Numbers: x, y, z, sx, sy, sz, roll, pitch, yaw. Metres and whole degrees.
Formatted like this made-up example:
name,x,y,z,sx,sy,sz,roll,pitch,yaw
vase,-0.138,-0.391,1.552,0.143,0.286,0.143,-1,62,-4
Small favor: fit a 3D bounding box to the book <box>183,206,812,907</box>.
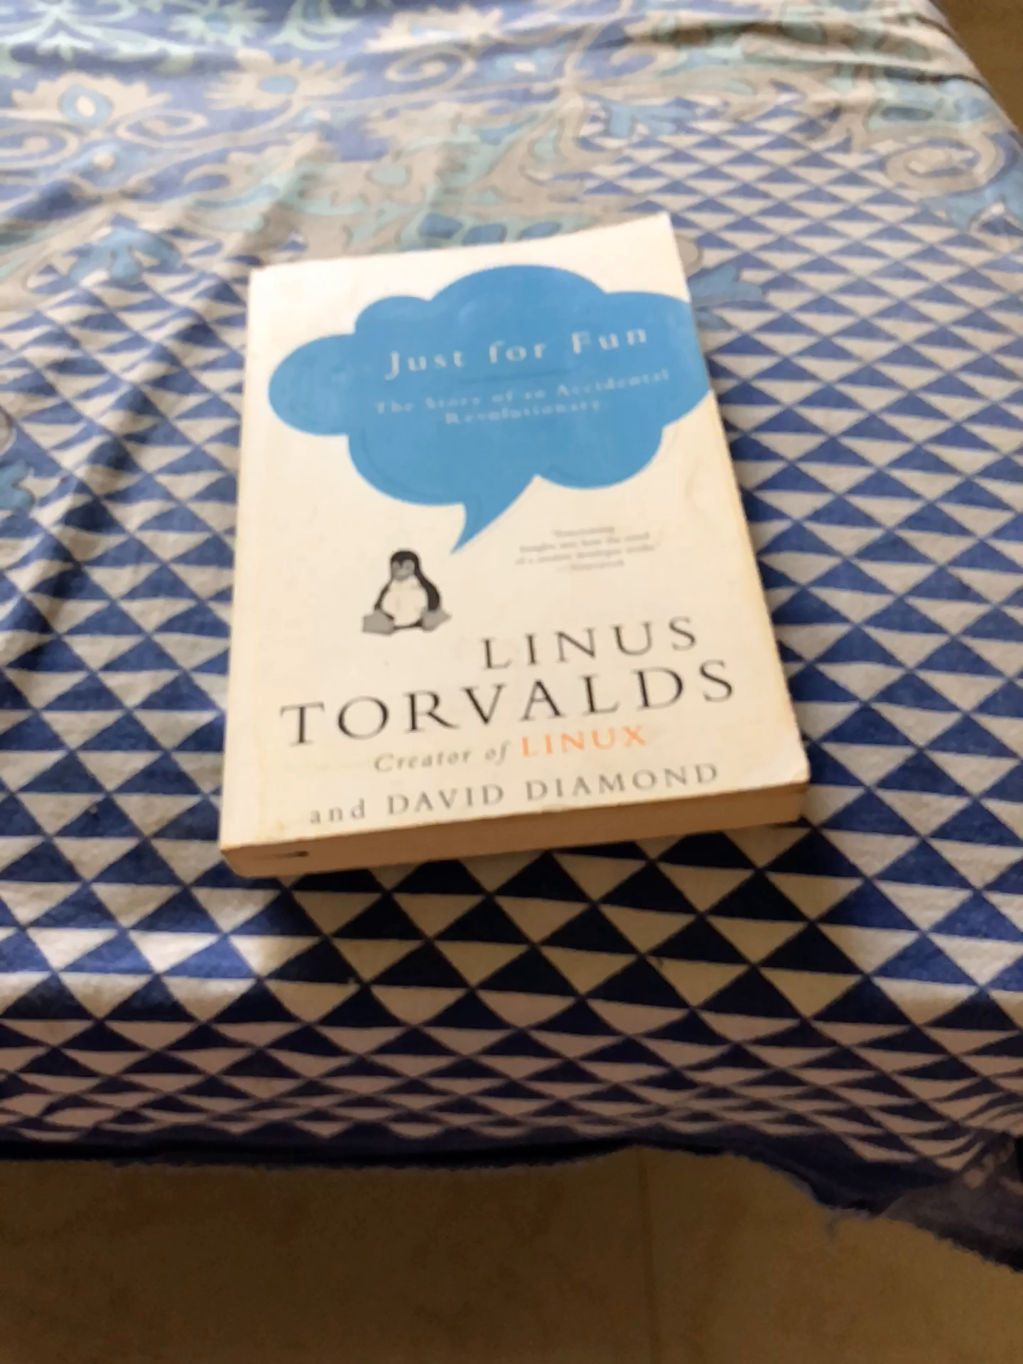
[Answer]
name,x,y,z,sx,sy,sz,roll,pitch,yaw
book,-0.012,-0.049,0.326,0.140,0.030,0.211,-6,57,0
